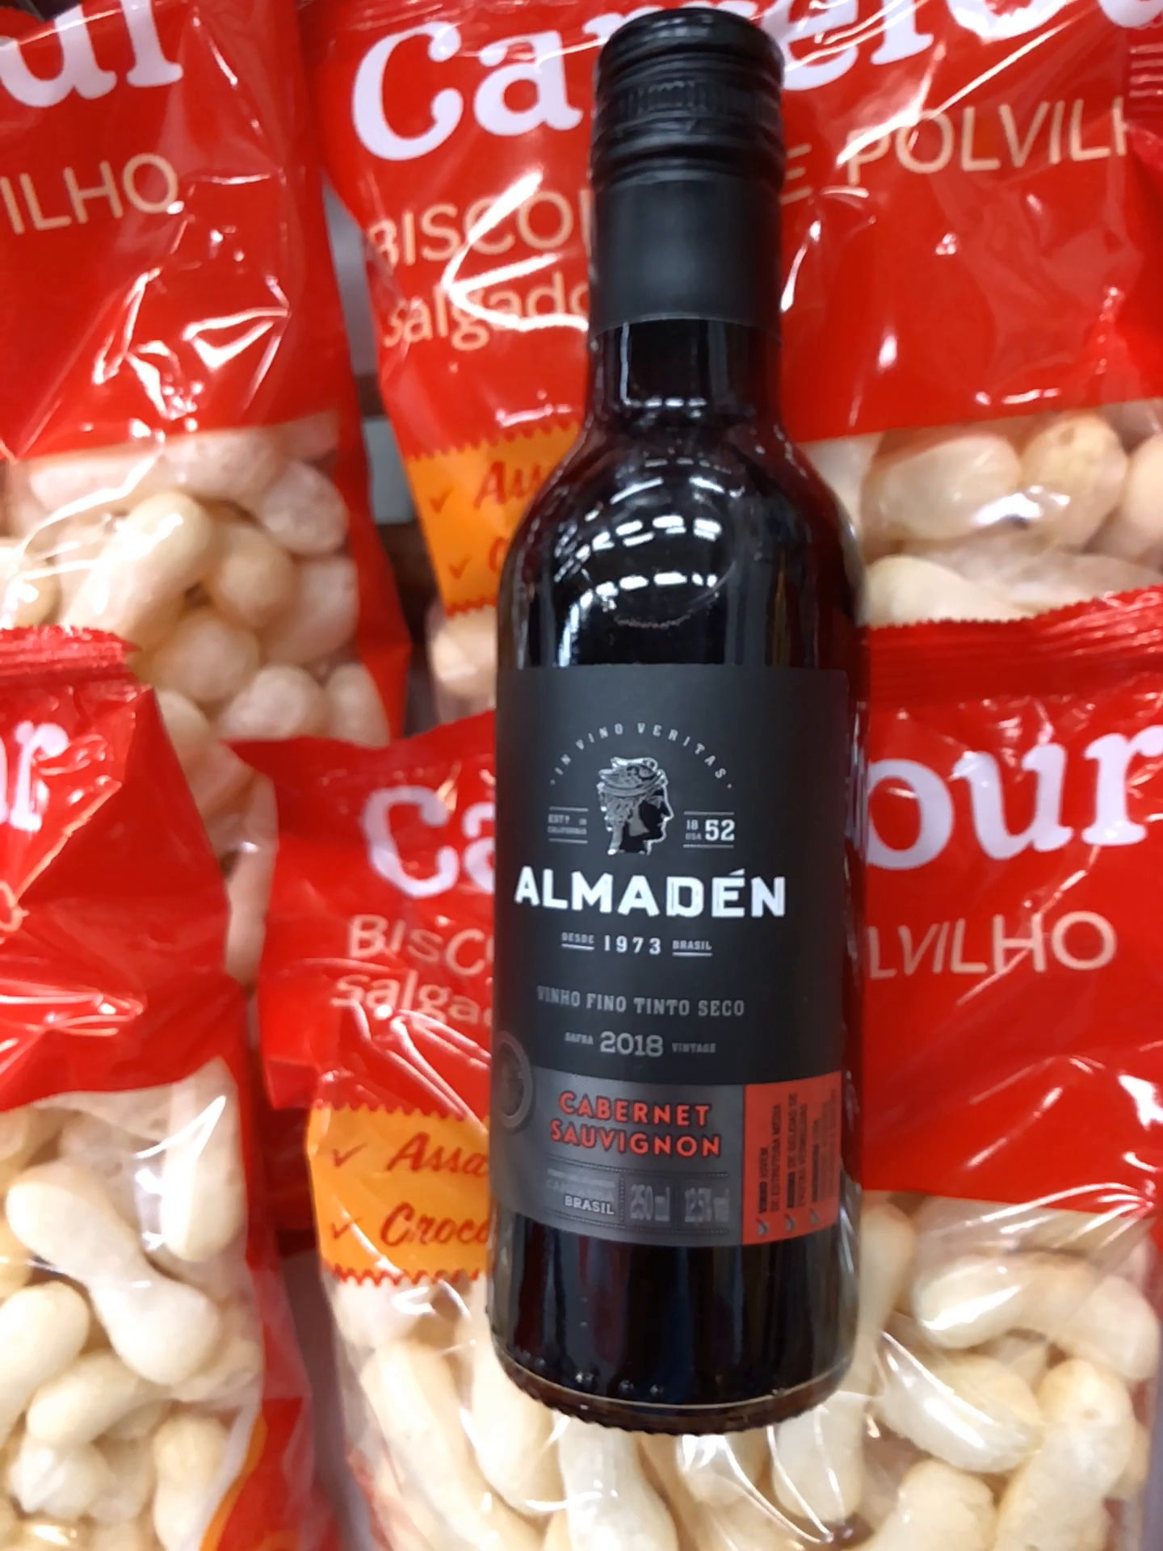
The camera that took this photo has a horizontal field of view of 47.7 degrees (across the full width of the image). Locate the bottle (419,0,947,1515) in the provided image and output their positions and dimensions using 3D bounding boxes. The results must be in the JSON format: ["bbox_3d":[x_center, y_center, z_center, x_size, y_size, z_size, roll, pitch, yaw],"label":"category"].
[{"bbox_3d":[0.018,-0.015,0.185,0.060,0.050,0.200,1,87,13],"label":"bottle"}]
